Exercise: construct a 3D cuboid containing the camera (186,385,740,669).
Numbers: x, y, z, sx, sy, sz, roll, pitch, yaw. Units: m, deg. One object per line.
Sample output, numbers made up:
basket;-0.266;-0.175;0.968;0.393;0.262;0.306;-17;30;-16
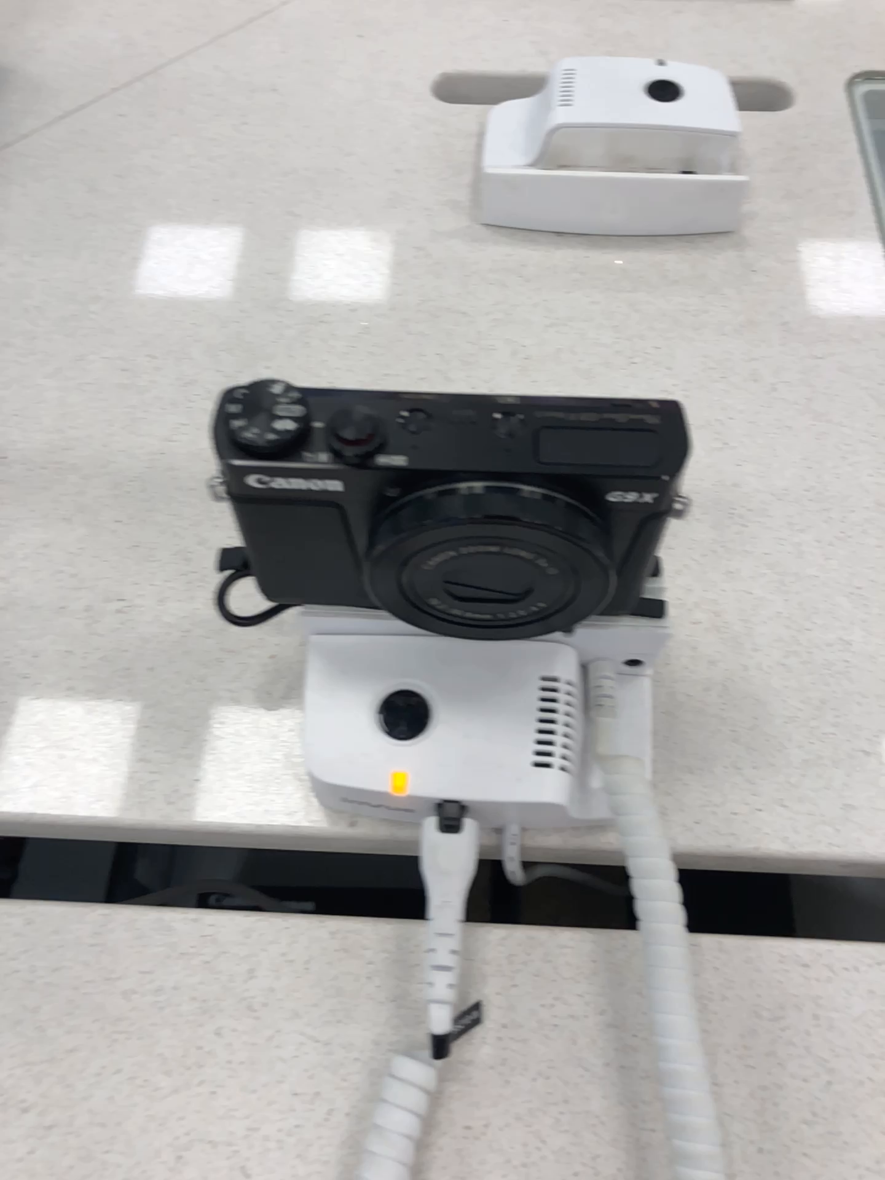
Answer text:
camera;0.004;-0.011;0.211;0.100;0.060;0.030;2;61;1
